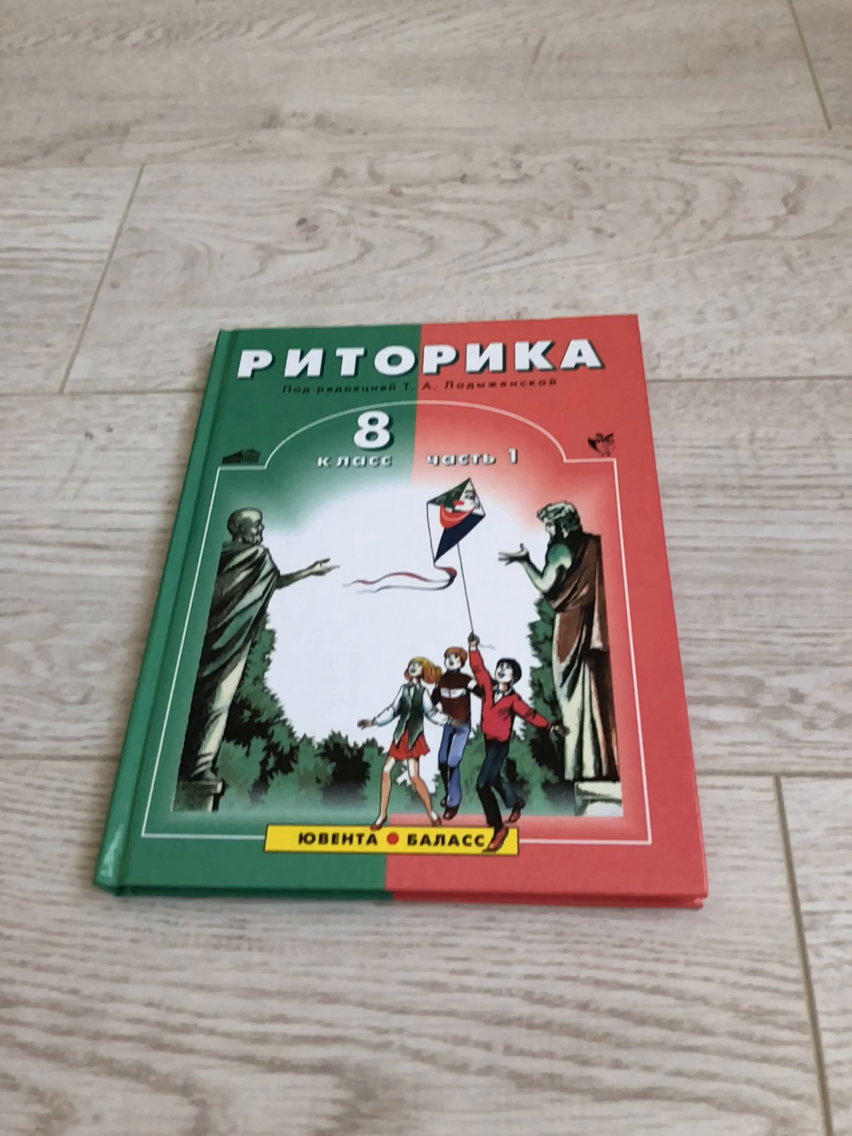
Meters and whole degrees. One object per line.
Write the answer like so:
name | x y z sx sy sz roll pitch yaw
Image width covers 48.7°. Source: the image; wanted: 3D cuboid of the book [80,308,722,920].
book | -0.004 -0.001 0.318 0.170 0.020 0.223 -1 56 5
